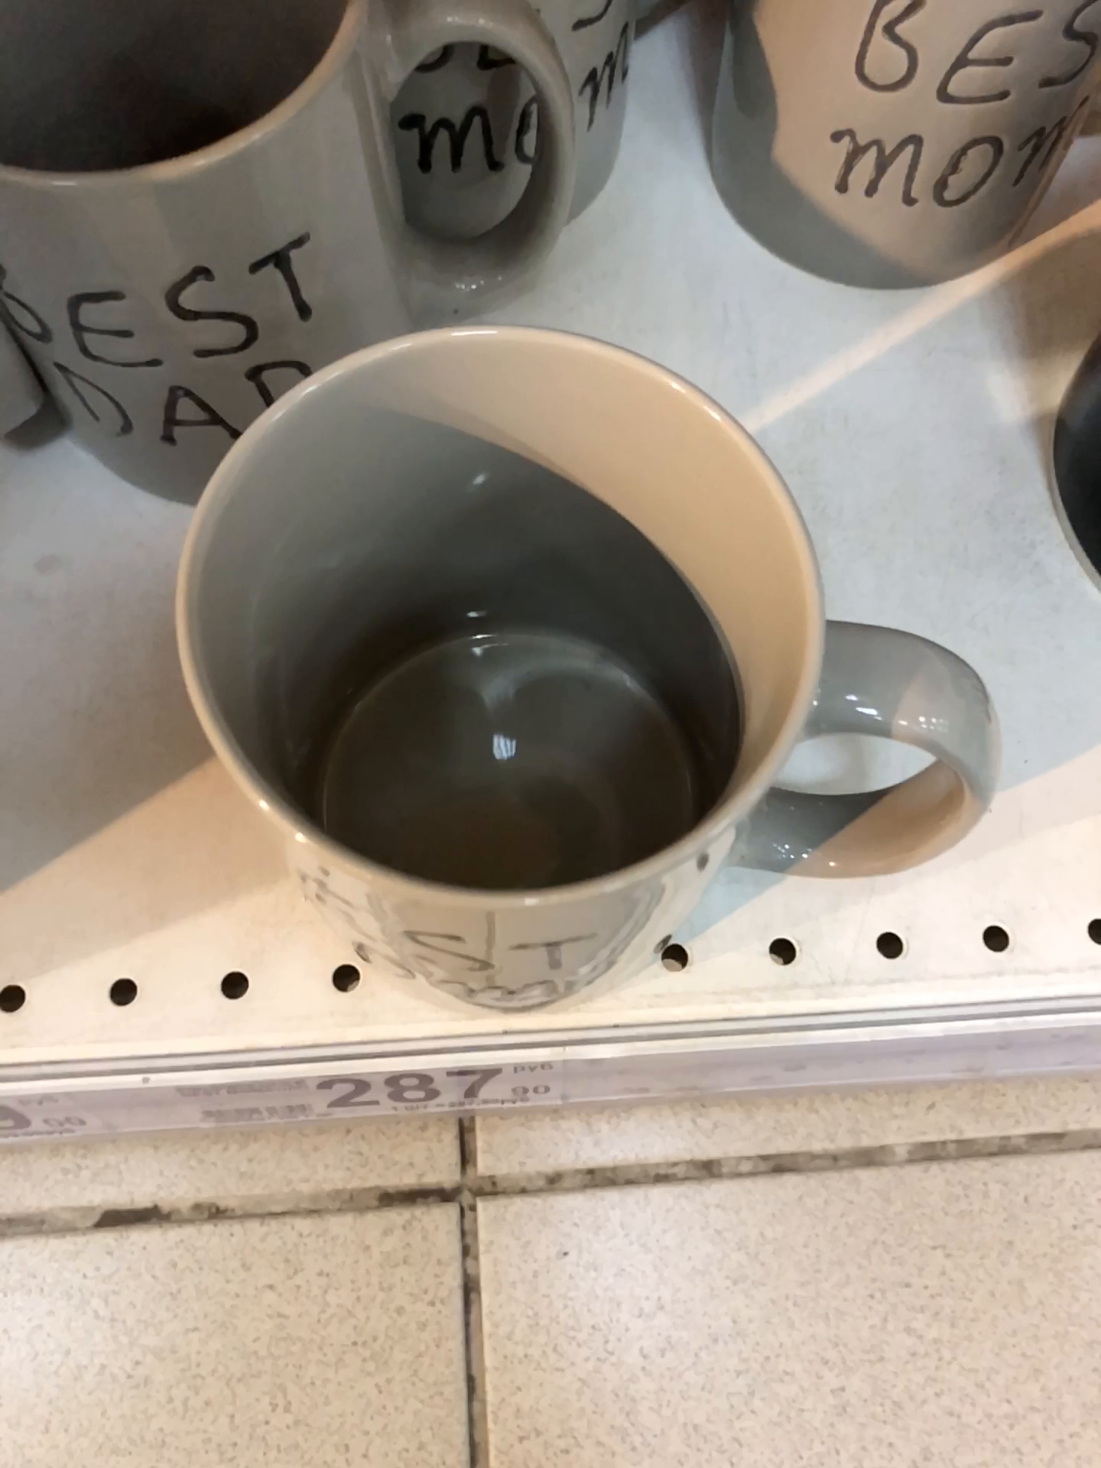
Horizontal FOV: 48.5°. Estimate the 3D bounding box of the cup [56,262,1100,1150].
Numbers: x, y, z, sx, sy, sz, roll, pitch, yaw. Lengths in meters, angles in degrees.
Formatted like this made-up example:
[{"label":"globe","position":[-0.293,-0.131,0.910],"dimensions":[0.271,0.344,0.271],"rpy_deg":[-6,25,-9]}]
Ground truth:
[{"label":"cup","position":[0.015,0.005,0.234],"dimensions":[0.143,0.121,0.101],"rpy_deg":[12,67,6]}]
